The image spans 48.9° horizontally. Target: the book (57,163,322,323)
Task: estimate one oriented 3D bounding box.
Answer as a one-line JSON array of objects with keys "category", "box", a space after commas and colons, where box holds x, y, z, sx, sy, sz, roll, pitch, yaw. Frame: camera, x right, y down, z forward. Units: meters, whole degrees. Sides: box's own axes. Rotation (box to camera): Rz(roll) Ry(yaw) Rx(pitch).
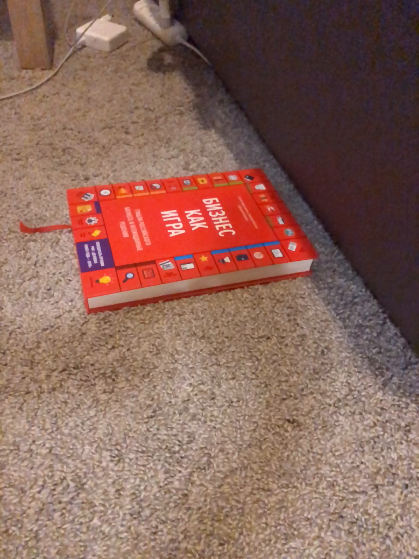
[{"category": "book", "box": [-0.030, -0.054, 0.509, 0.247, 0.033, 0.180, -10, 48, -16]}]
